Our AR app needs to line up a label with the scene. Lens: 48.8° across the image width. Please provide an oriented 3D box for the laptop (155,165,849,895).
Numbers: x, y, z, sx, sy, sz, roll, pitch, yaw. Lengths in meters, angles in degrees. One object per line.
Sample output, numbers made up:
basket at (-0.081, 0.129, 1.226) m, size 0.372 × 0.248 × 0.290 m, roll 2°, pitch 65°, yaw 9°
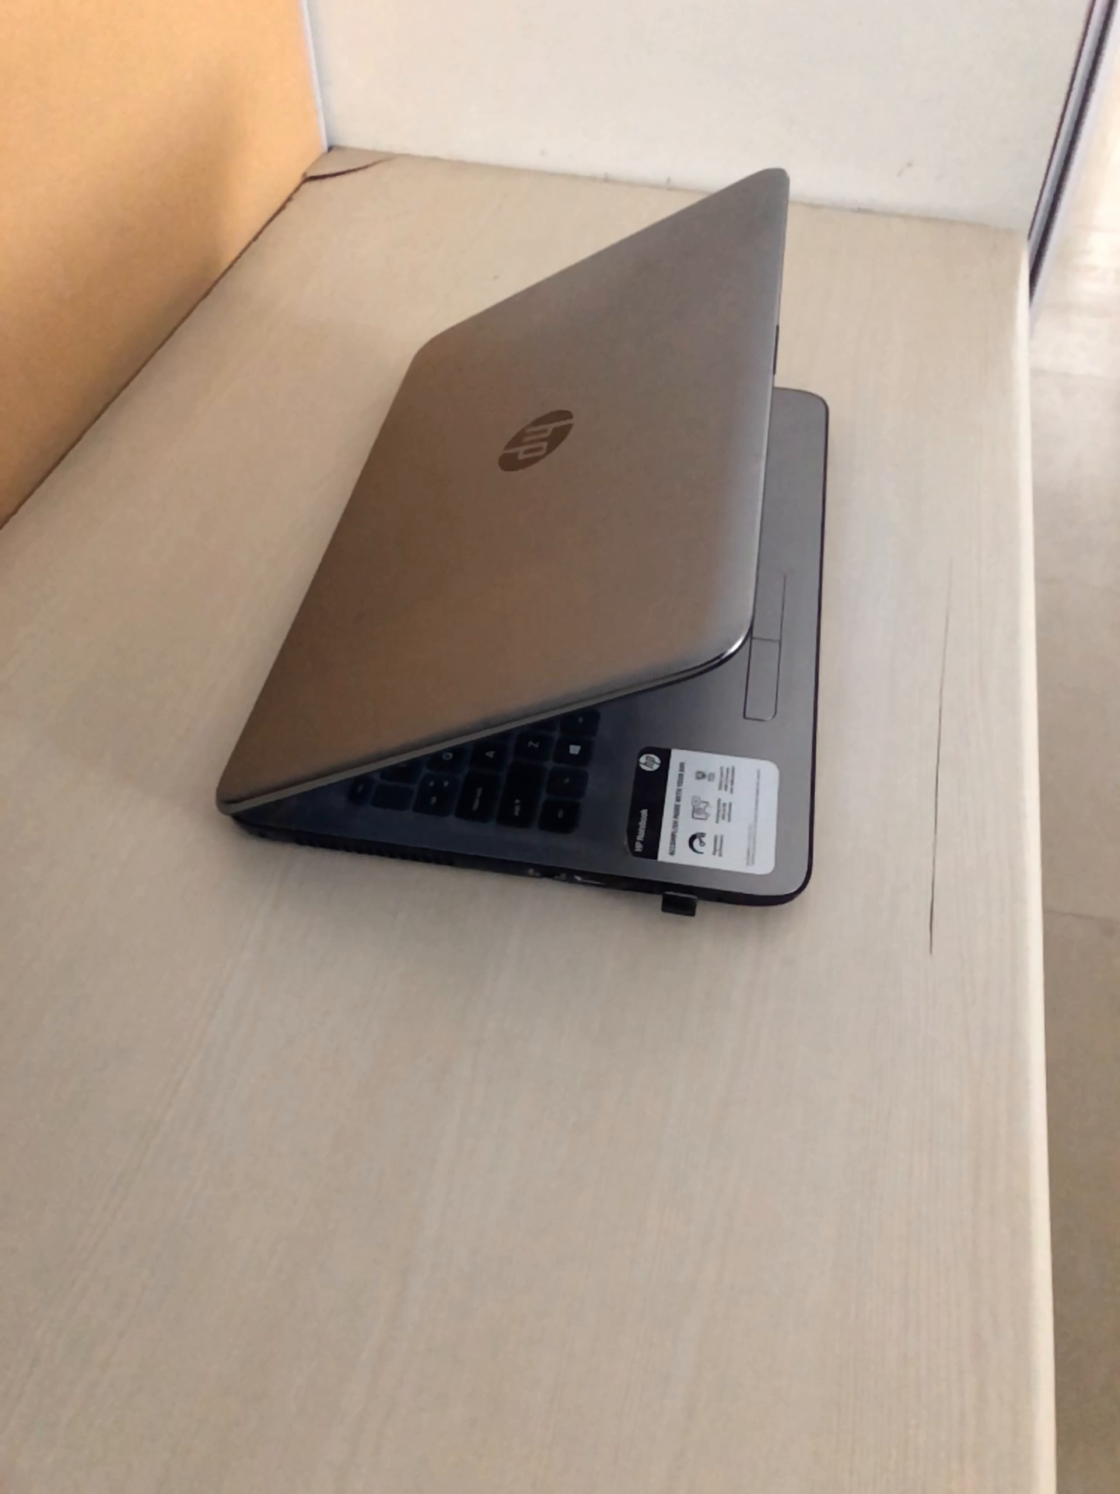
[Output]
laptop at (0.003, -0.131, 0.586) m, size 0.237 × 0.132 × 0.366 m, roll 5°, pitch 46°, yaw 7°
